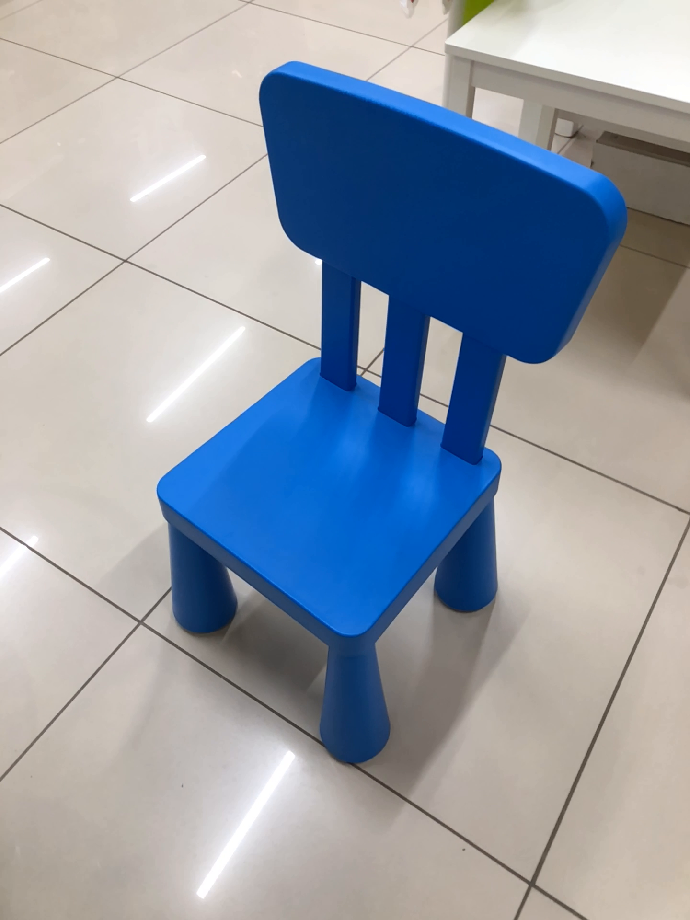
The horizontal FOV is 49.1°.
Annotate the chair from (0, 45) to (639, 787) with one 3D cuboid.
[{"bbox_3d":[-0.016,0.001,0.833,0.356,0.666,0.356,32,59,24],"label":"chair"}]
